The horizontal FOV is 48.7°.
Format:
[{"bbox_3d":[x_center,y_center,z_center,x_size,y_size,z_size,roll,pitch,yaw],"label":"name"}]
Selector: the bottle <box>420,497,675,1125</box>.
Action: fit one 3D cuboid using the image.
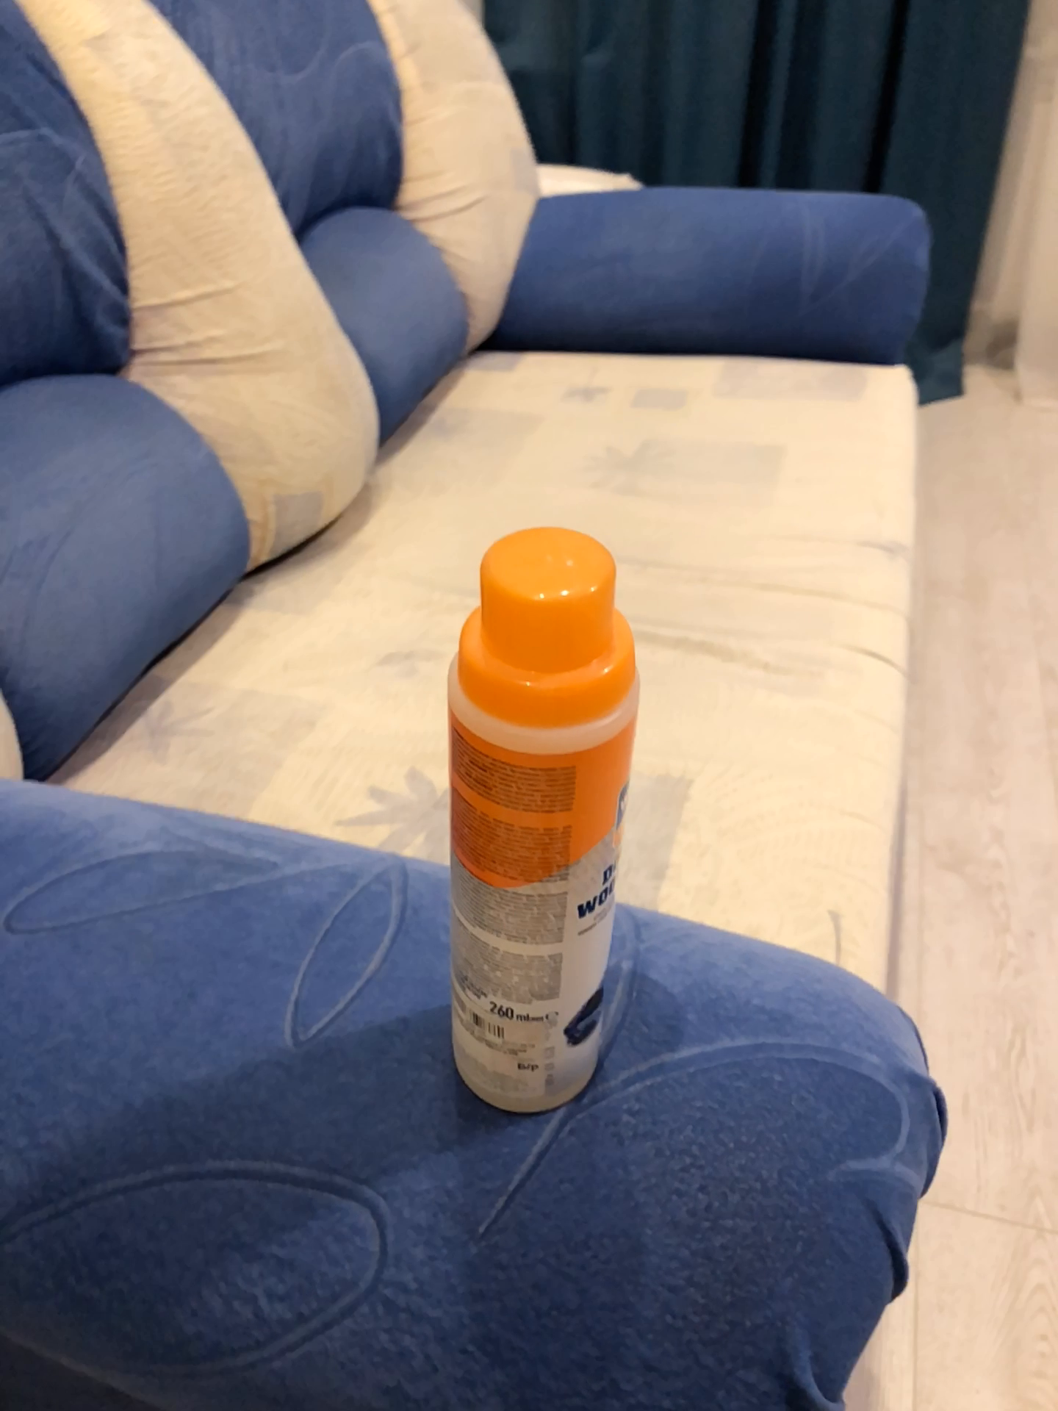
[{"bbox_3d":[0.001,0.040,0.326,0.052,0.188,0.052,2,41,-2],"label":"bottle"}]
